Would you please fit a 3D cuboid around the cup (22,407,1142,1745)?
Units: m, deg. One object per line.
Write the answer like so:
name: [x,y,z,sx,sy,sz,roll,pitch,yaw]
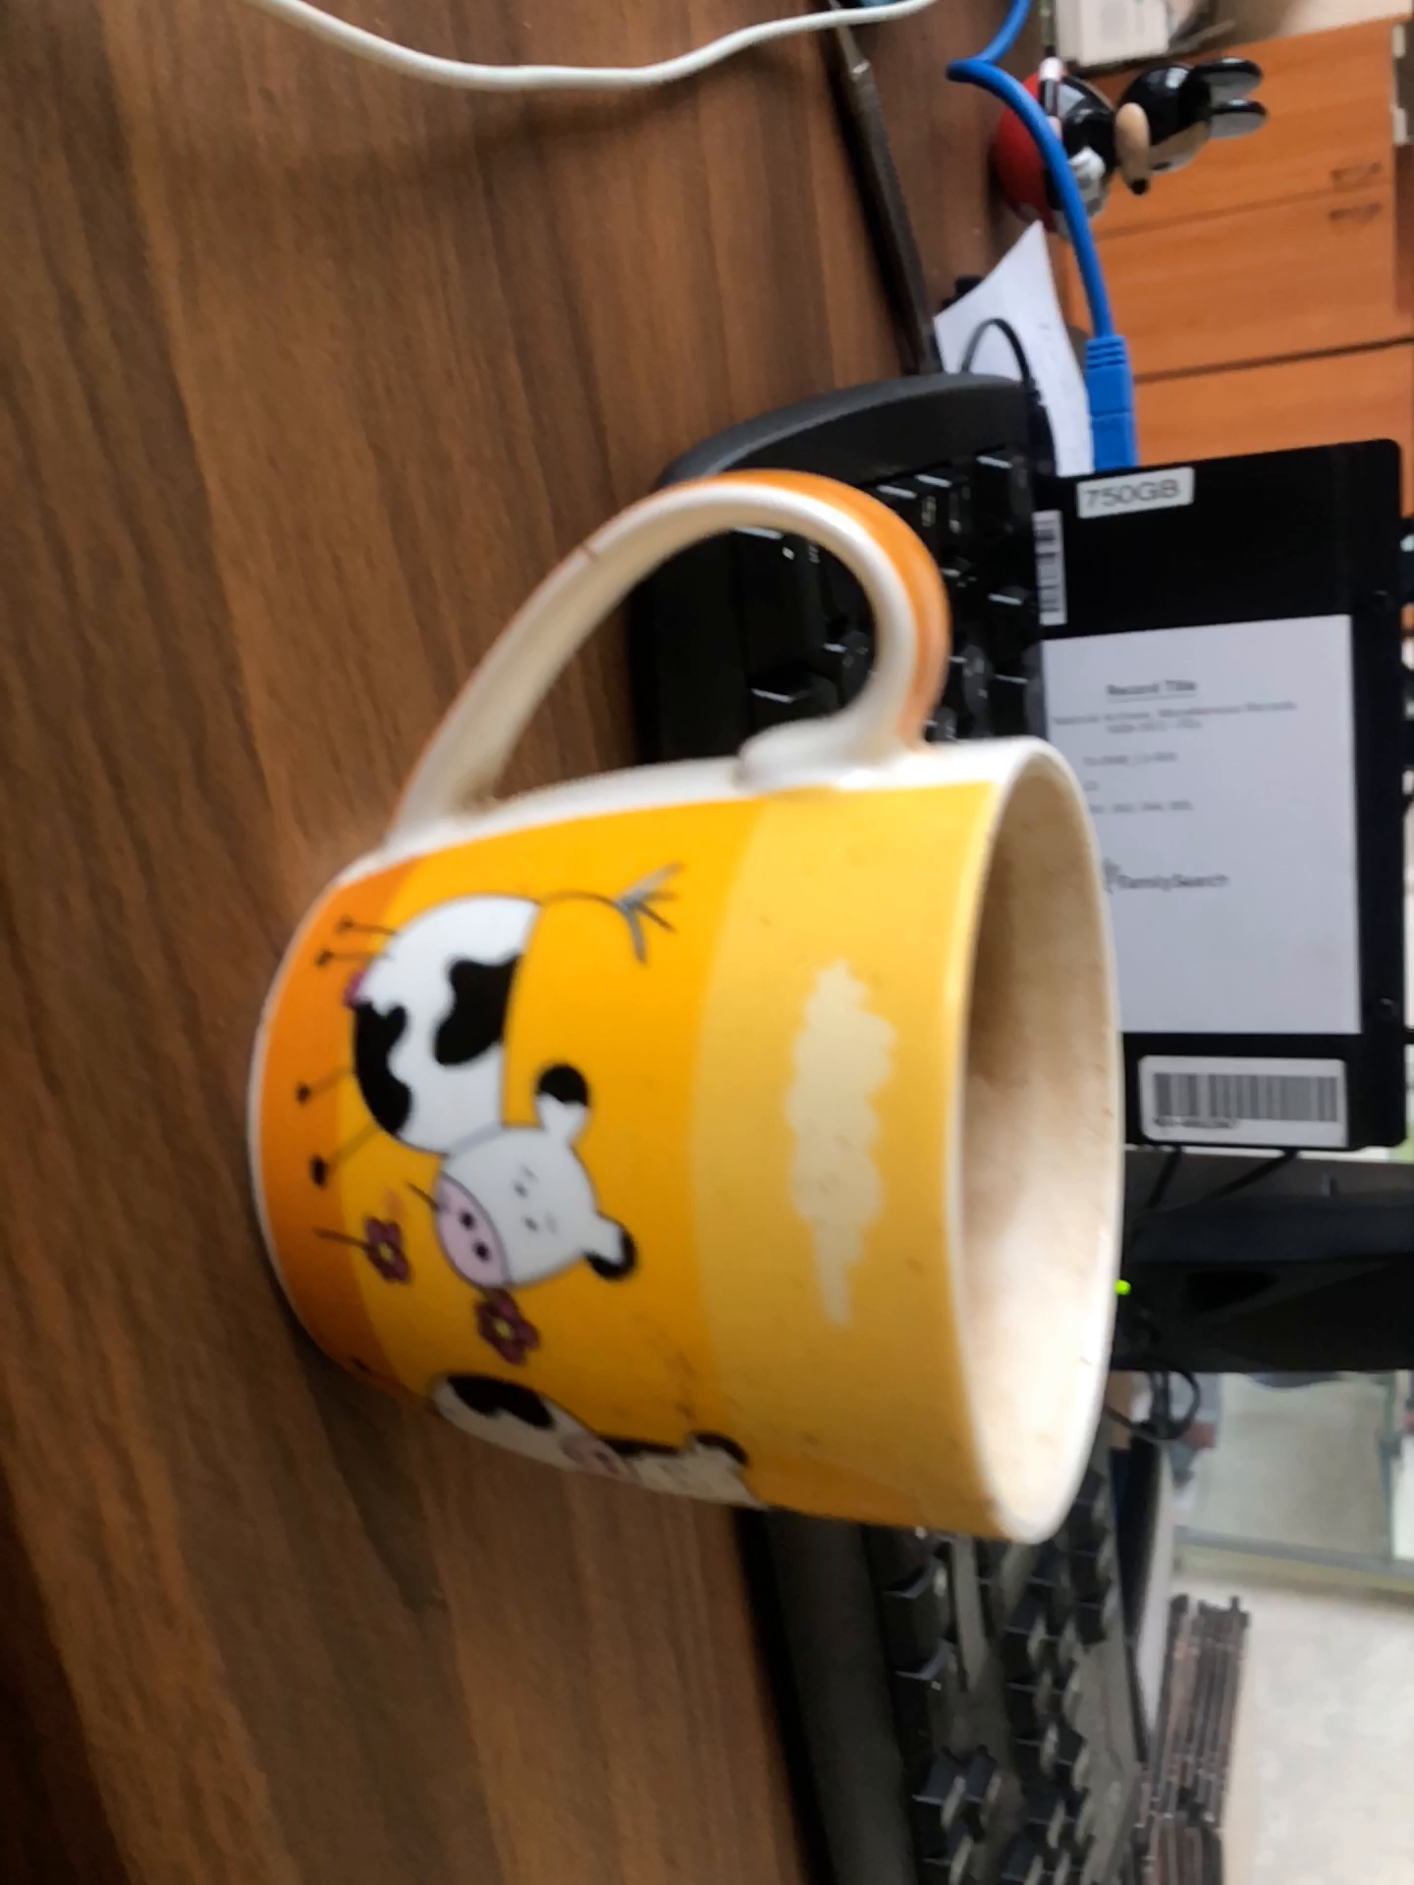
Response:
cup: [-0.002,0.007,0.207,0.093,0.095,0.135,-39,124,-60]
